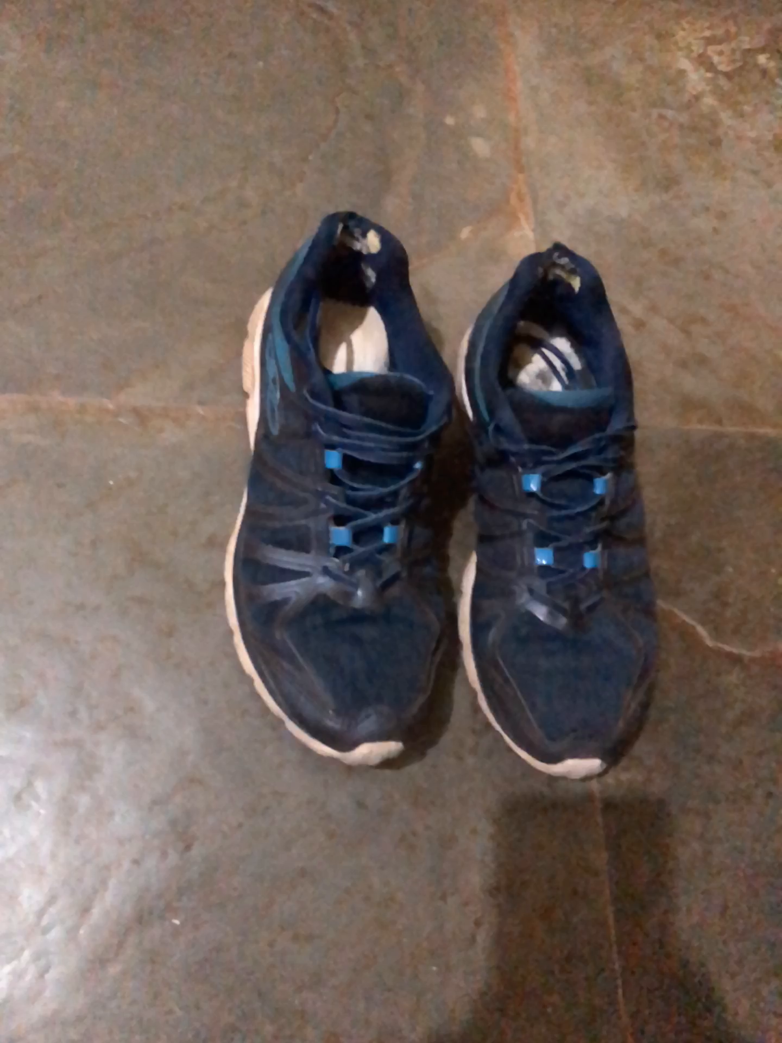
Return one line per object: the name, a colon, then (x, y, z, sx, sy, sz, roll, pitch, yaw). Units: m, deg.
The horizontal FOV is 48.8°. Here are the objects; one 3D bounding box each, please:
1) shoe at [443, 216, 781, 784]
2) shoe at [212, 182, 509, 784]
shoe: (0.107, -0.009, 0.467, 0.120, 0.110, 0.281, 2, 69, -11)
shoe: (-0.029, -0.018, 0.442, 0.120, 0.110, 0.281, 0, 70, -11)
